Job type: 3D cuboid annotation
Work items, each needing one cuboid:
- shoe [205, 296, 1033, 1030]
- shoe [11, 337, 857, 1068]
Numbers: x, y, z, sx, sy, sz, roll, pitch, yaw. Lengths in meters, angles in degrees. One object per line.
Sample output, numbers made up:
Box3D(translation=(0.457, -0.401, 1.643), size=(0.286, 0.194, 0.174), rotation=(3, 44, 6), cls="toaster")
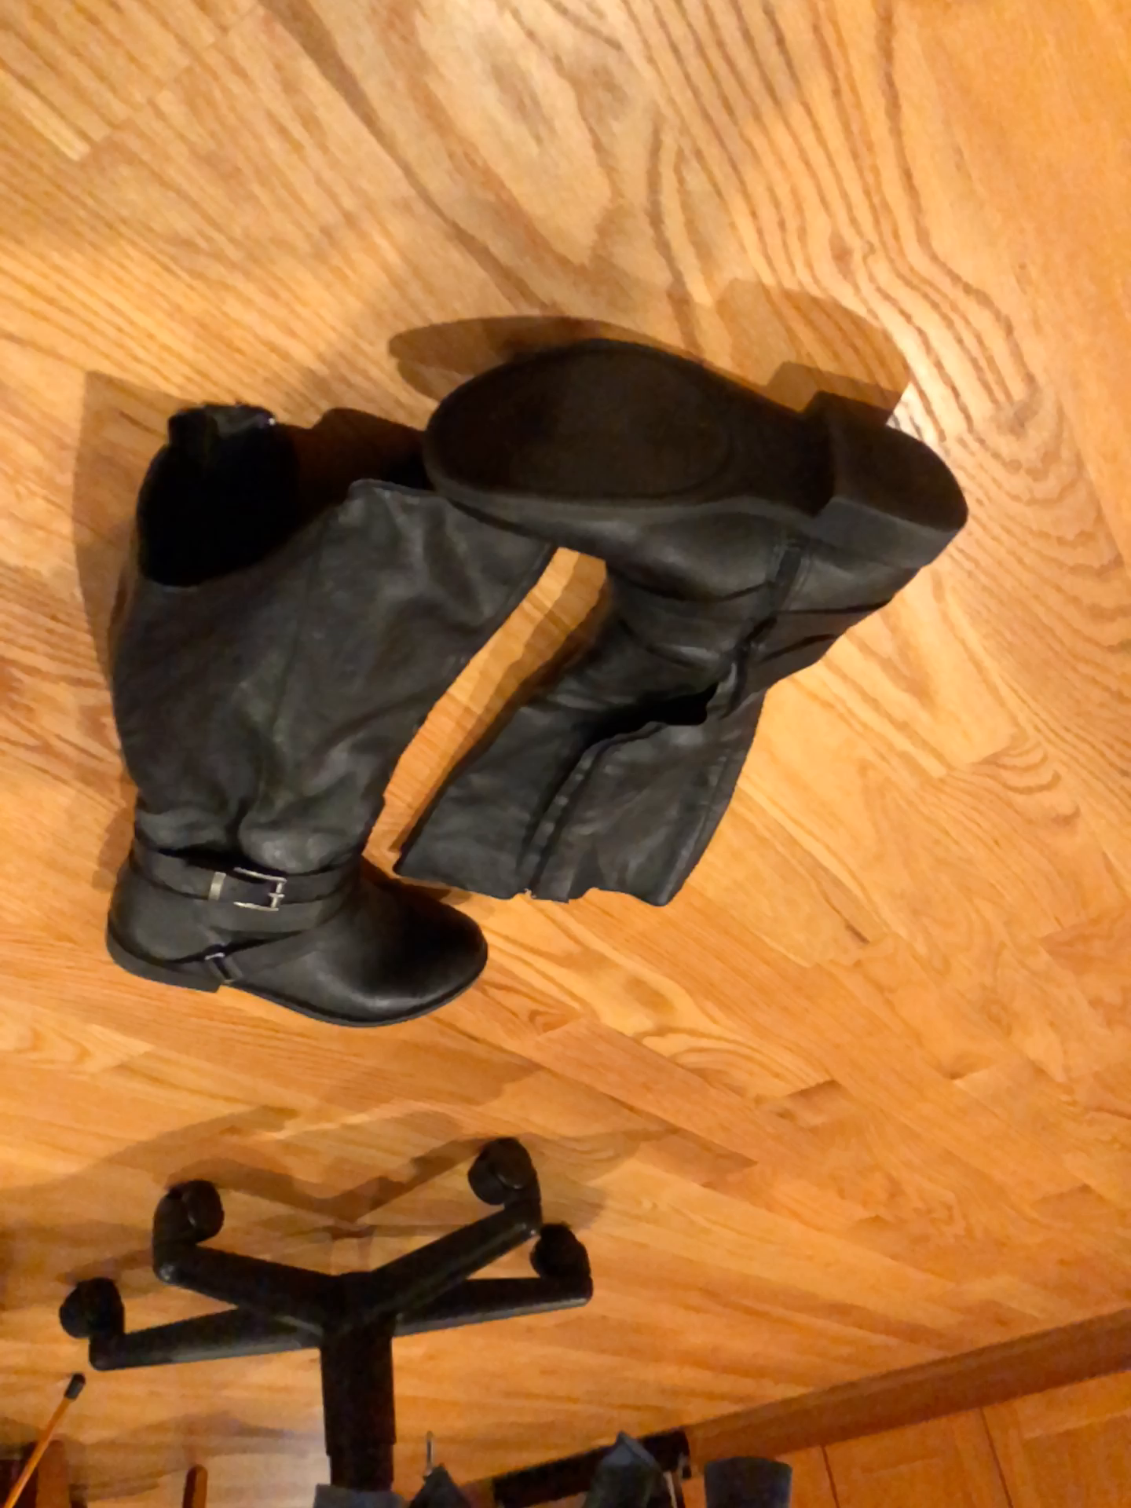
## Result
Box3D(translation=(-0.008, 0.002, 0.622), size=(0.251, 0.094, 0.394), rotation=(9, 139, -26), cls="shoe")
Box3D(translation=(-0.099, 0.025, 0.630), size=(0.291, 0.104, 0.404), rotation=(9, 141, -25), cls="shoe")
